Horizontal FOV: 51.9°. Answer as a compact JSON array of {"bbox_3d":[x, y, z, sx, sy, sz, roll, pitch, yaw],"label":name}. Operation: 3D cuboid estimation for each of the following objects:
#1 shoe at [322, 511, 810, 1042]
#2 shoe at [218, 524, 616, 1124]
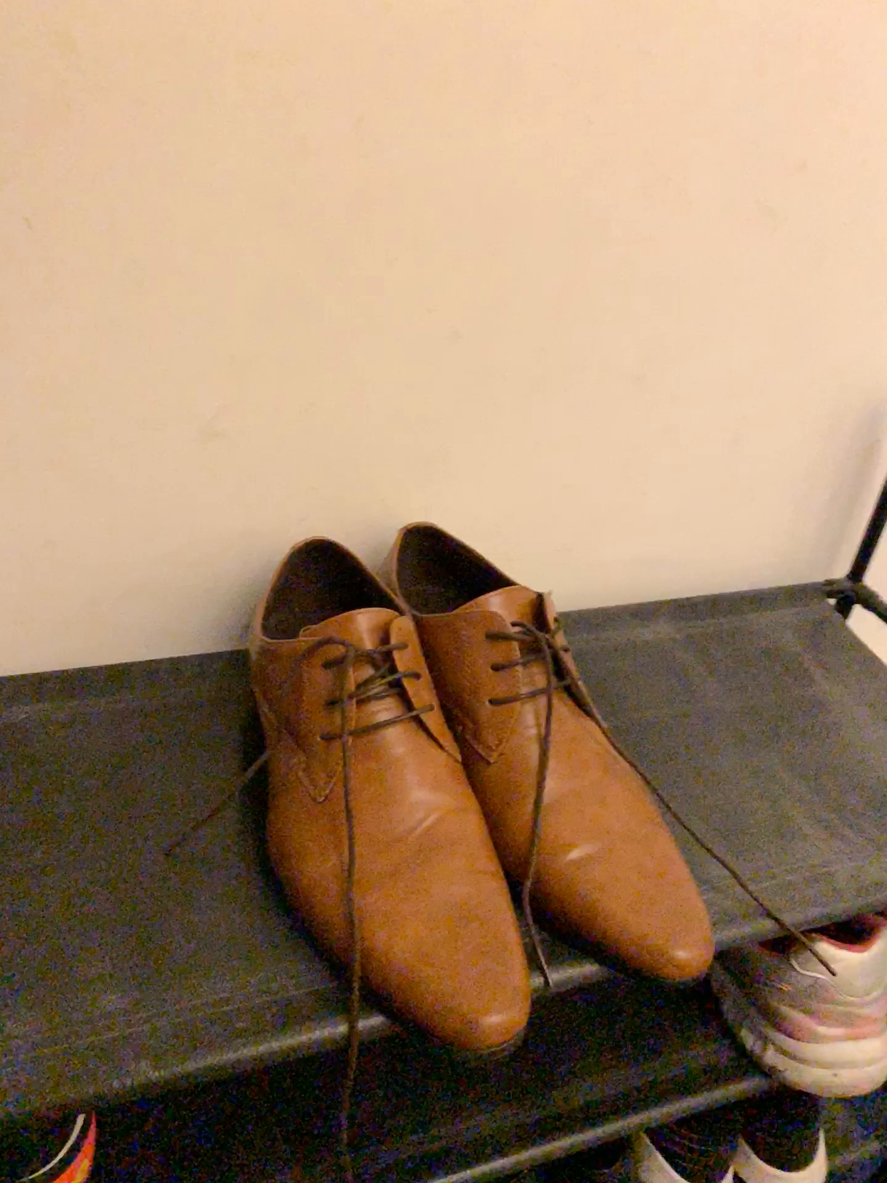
[{"bbox_3d":[0.039,0.073,0.510,0.100,0.099,0.302,-12,36,-28],"label":"shoe"},{"bbox_3d":[-0.039,0.084,0.470,0.100,0.099,0.302,-7,34,-20],"label":"shoe"}]
